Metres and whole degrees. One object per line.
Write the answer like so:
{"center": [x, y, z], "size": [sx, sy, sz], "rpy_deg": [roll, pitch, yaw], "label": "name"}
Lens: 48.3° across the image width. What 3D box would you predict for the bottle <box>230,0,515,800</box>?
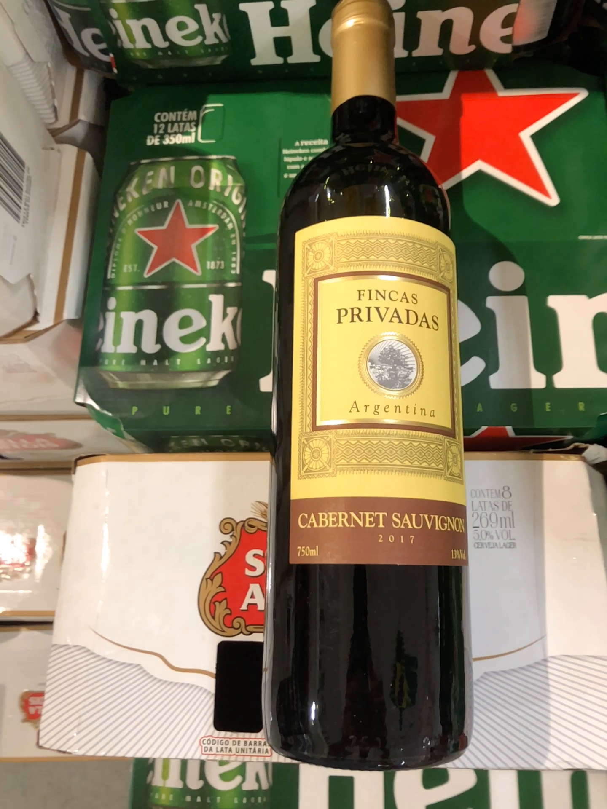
{"center": [0.027, -0.039, 0.270], "size": [0.080, 0.060, 0.331], "rpy_deg": [0, 72, 6], "label": "bottle"}
